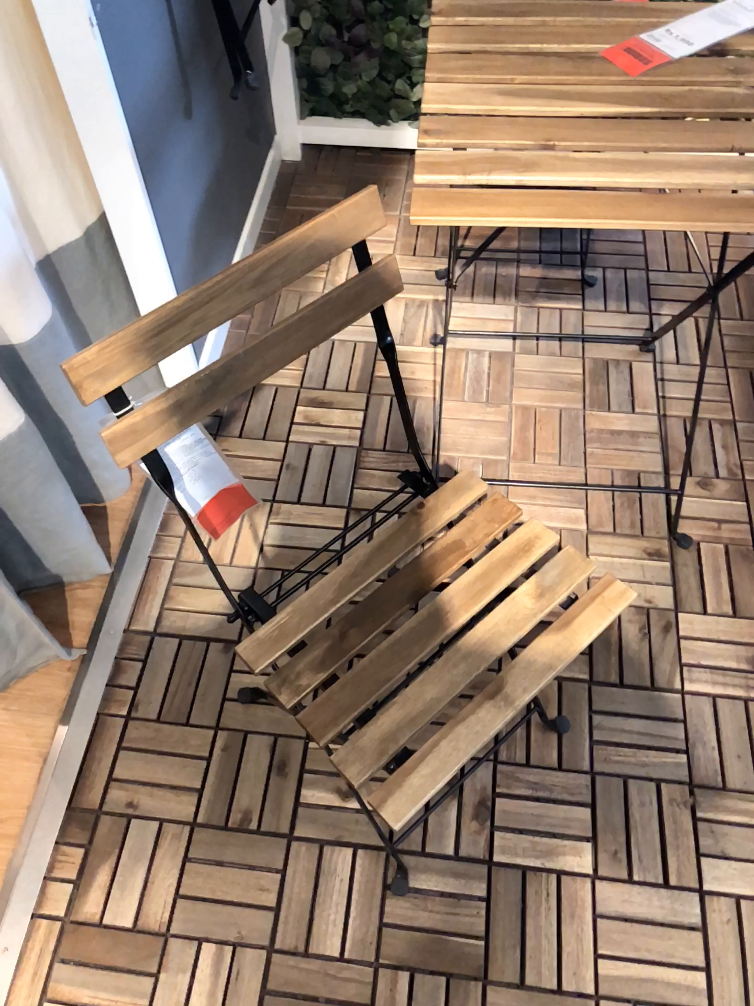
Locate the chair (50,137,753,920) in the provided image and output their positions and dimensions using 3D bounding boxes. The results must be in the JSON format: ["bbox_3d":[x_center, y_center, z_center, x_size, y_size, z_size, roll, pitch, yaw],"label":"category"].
[{"bbox_3d":[0.046,0.088,0.958,0.431,0.726,0.431,-37,62,-21],"label":"chair"}]
